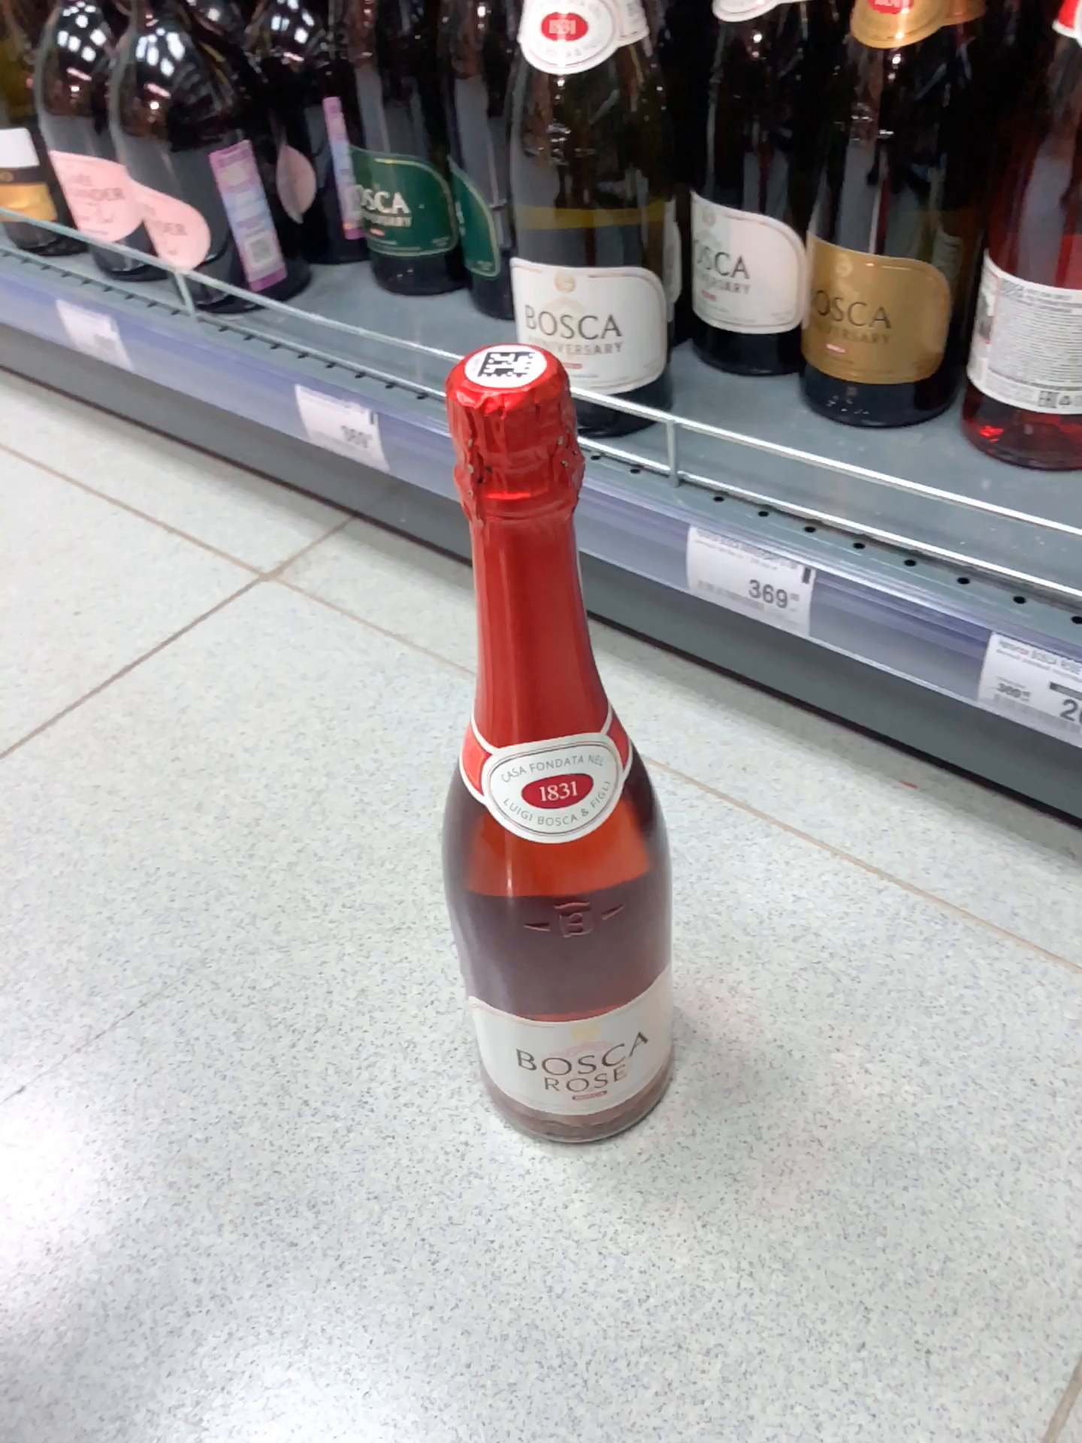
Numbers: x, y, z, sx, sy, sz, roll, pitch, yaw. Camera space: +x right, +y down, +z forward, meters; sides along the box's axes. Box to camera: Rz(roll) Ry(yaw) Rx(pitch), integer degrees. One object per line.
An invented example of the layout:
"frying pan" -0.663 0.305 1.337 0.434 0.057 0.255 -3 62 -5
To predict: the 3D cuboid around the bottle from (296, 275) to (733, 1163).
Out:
"bottle" 0.004 0.025 0.415 0.100 0.317 0.101 -3 42 3
